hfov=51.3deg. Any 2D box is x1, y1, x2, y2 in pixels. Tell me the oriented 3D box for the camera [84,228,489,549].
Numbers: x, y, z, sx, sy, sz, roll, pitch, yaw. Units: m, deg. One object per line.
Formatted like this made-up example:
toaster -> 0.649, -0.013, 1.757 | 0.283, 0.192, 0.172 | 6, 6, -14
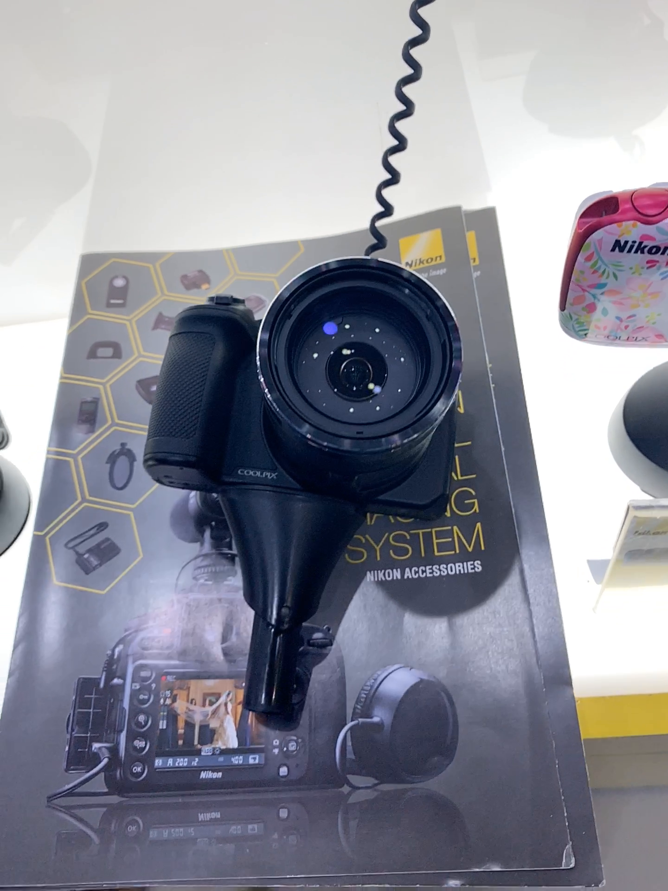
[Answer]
camera -> -0.009, -0.018, 0.260 | 0.120, 0.080, 0.090 | 6, 77, 12
